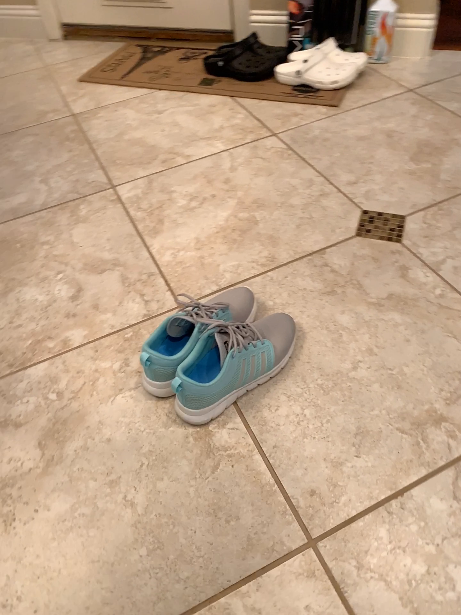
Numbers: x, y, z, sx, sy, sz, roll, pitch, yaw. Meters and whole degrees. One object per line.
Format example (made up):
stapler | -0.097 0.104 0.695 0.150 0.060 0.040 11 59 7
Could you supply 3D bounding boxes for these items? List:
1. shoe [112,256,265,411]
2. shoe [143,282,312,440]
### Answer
shoe | -0.065 0.039 0.864 0.107 0.108 0.271 31 58 29
shoe | 0.002 0.086 0.817 0.271 0.108 0.107 -32 52 -22
